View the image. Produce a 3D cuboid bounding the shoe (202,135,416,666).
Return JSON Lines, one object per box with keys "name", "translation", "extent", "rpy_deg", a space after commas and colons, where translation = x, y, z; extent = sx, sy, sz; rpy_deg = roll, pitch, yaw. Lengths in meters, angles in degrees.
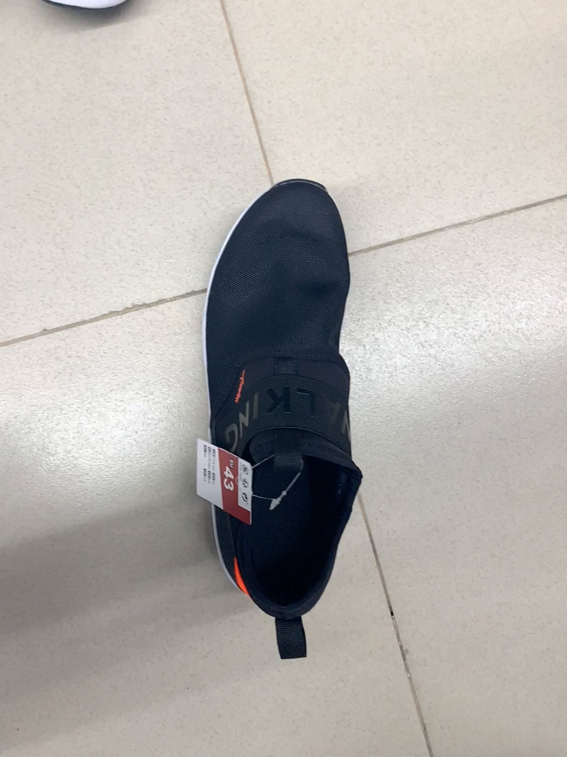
{"name": "shoe", "translation": [0.010, 0.013, 0.371], "extent": [0.110, 0.120, 0.280], "rpy_deg": [1, 90, -4]}
